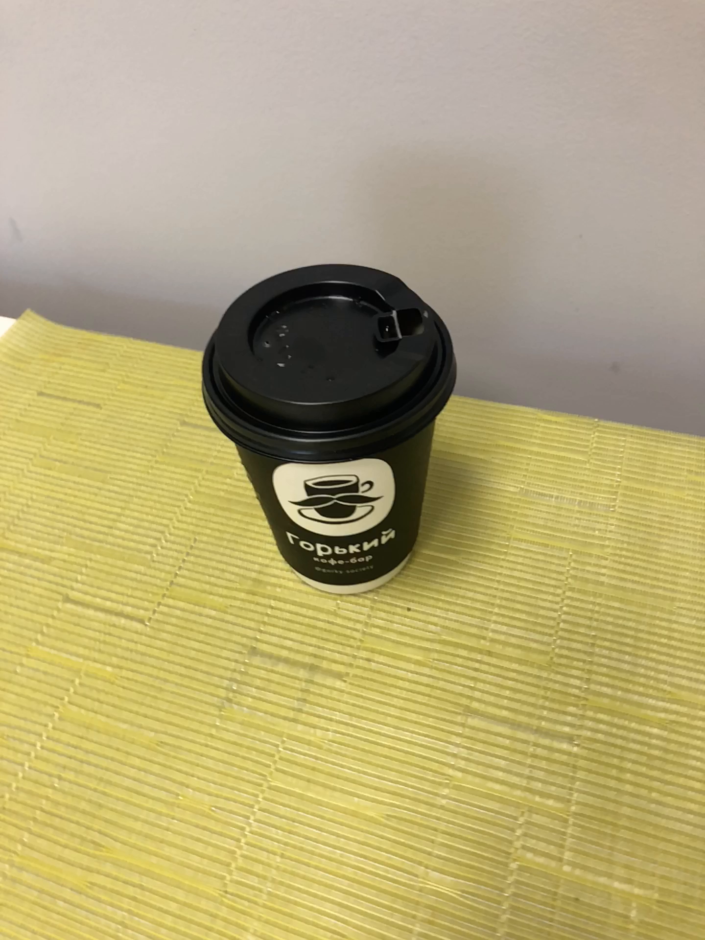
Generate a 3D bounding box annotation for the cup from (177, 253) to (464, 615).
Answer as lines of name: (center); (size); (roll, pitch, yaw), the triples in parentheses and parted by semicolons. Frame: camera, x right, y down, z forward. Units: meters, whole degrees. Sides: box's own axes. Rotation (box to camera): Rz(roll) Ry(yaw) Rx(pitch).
cup: (-0.005, -0.011, 0.325); (0.092, 0.120, 0.090); (-2, 48, 3)
